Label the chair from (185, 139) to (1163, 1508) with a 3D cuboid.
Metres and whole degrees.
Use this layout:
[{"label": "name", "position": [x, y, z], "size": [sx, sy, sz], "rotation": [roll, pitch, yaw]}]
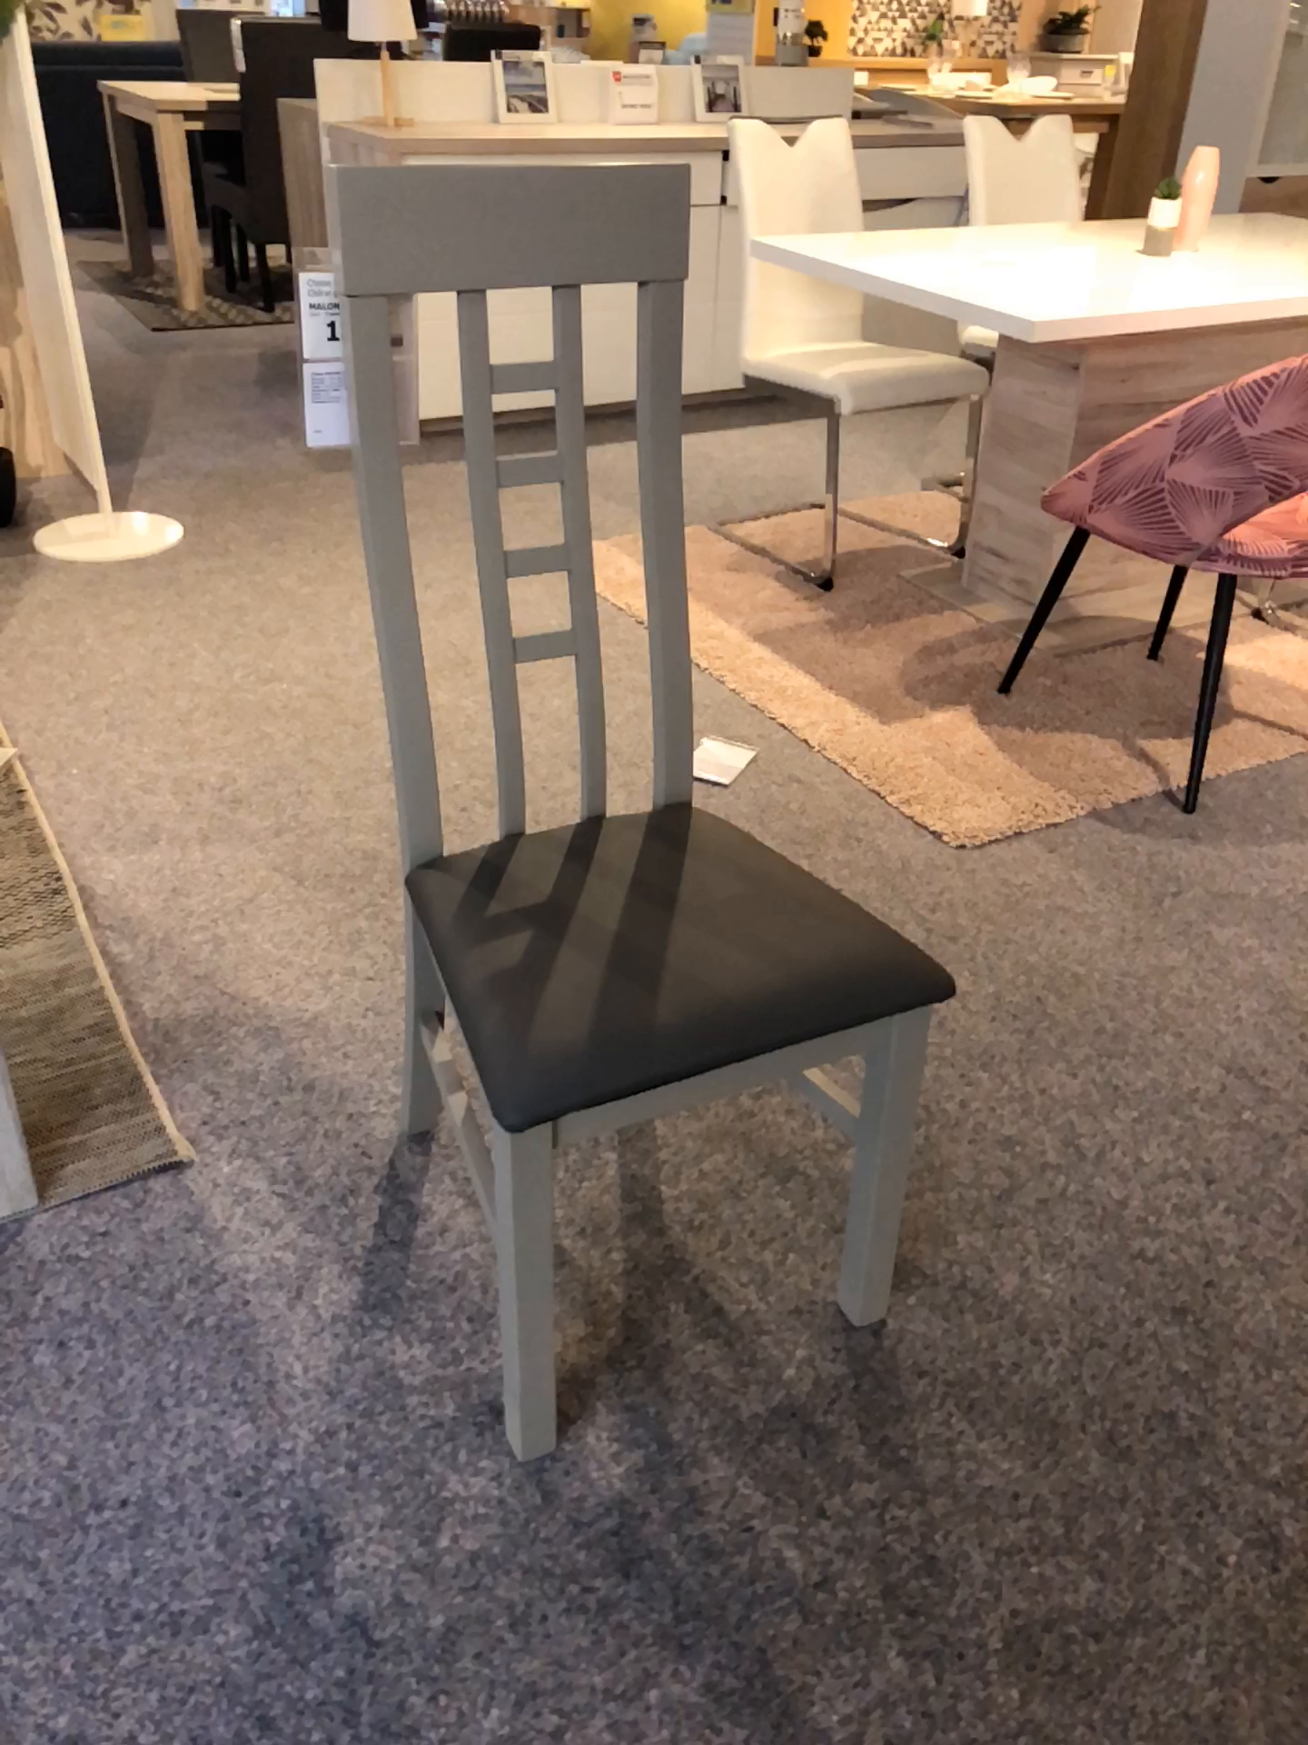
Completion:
[{"label": "chair", "position": [-0.036, -0.072, 1.294], "size": [0.512, 1.014, 0.551], "rotation": [-14, 34, -25]}]
